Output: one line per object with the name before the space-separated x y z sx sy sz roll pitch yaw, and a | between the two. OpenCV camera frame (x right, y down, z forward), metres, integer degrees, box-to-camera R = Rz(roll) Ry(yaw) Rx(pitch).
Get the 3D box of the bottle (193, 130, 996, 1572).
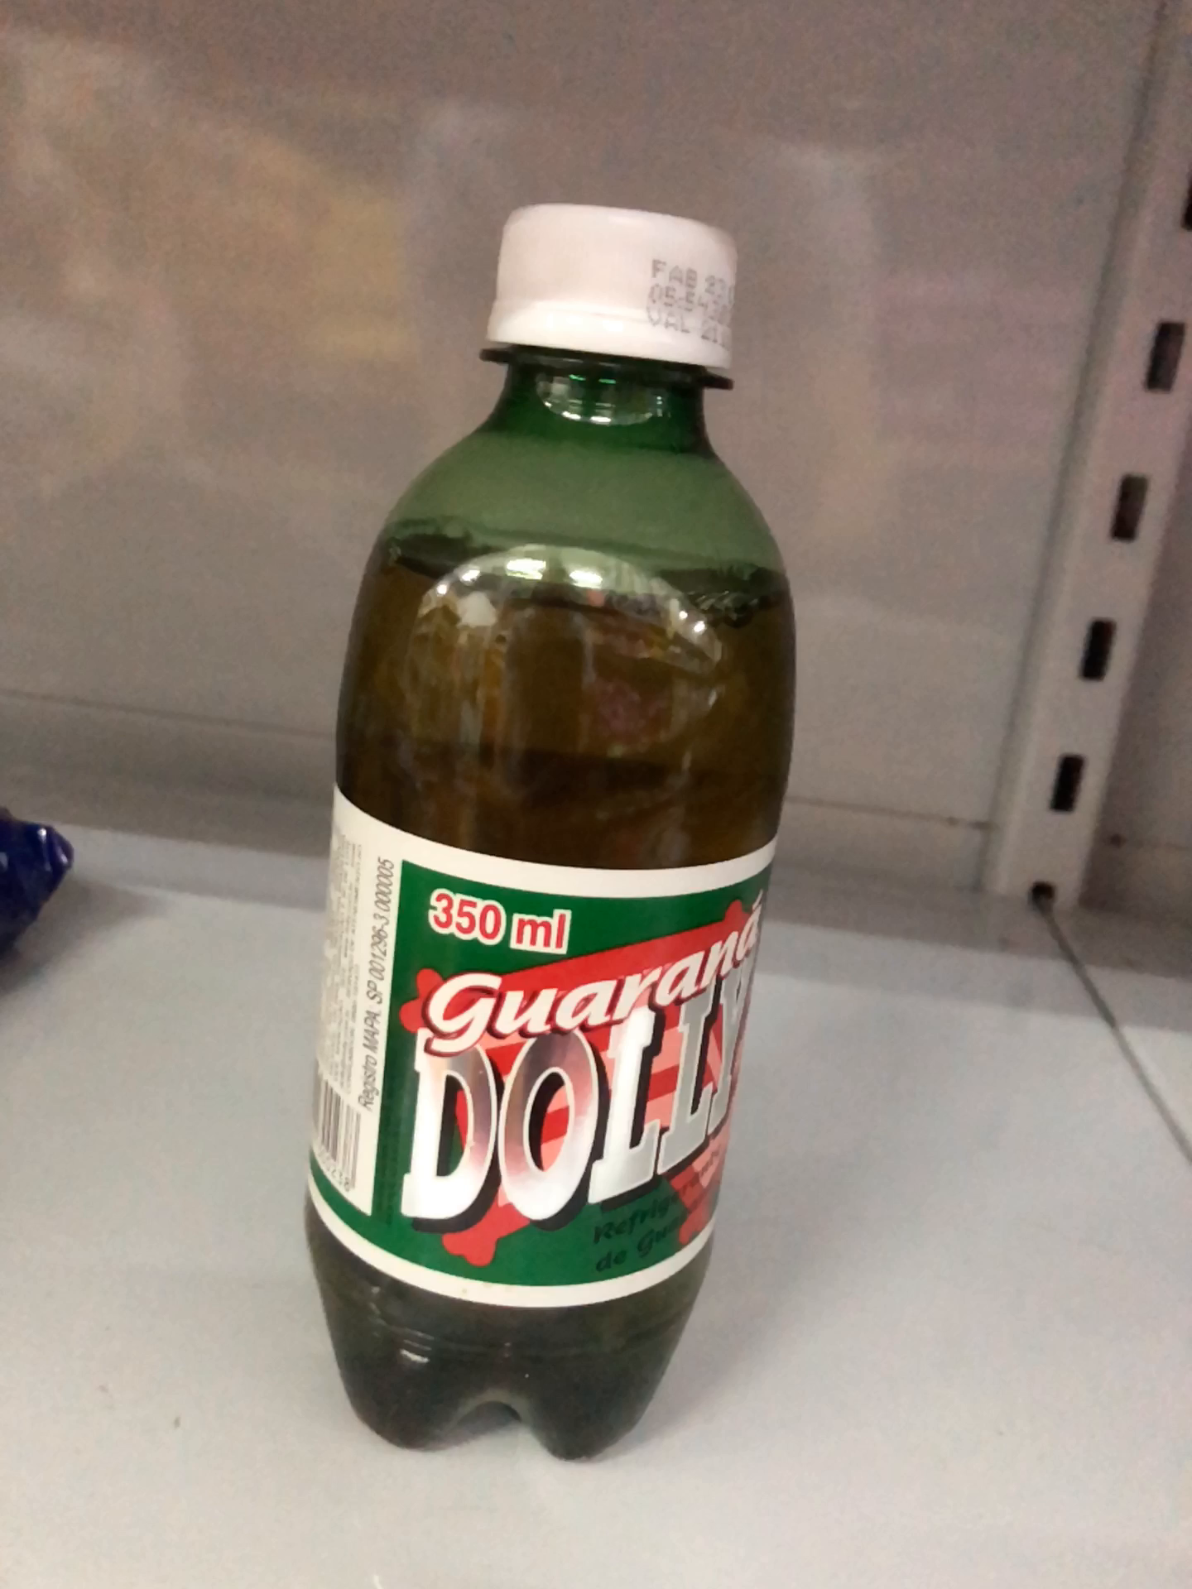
bottle | -0.012 0.008 0.203 0.080 0.179 0.070 -2 20 -26
